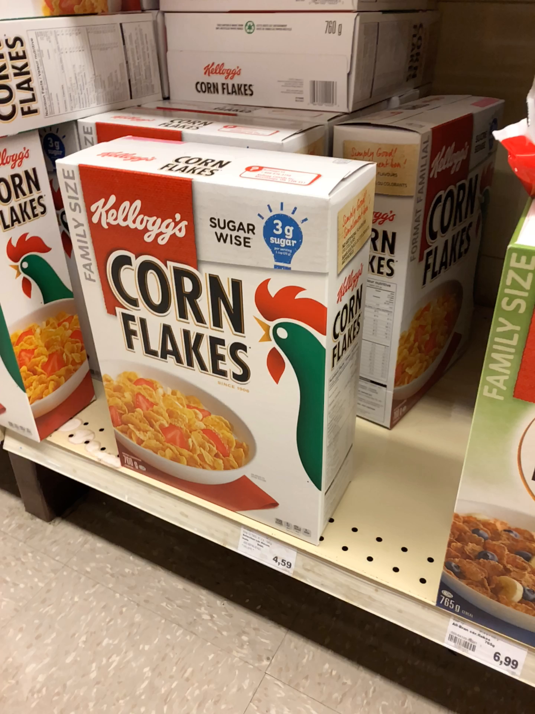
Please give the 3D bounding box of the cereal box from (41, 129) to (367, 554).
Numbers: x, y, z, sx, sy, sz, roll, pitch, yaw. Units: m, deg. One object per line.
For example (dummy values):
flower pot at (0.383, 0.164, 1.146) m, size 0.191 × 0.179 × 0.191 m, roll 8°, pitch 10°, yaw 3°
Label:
cereal box at (-0.057, -0.013, 0.612) m, size 0.271 × 0.387 × 0.101 m, roll 14°, pitch 34°, yaw 23°
